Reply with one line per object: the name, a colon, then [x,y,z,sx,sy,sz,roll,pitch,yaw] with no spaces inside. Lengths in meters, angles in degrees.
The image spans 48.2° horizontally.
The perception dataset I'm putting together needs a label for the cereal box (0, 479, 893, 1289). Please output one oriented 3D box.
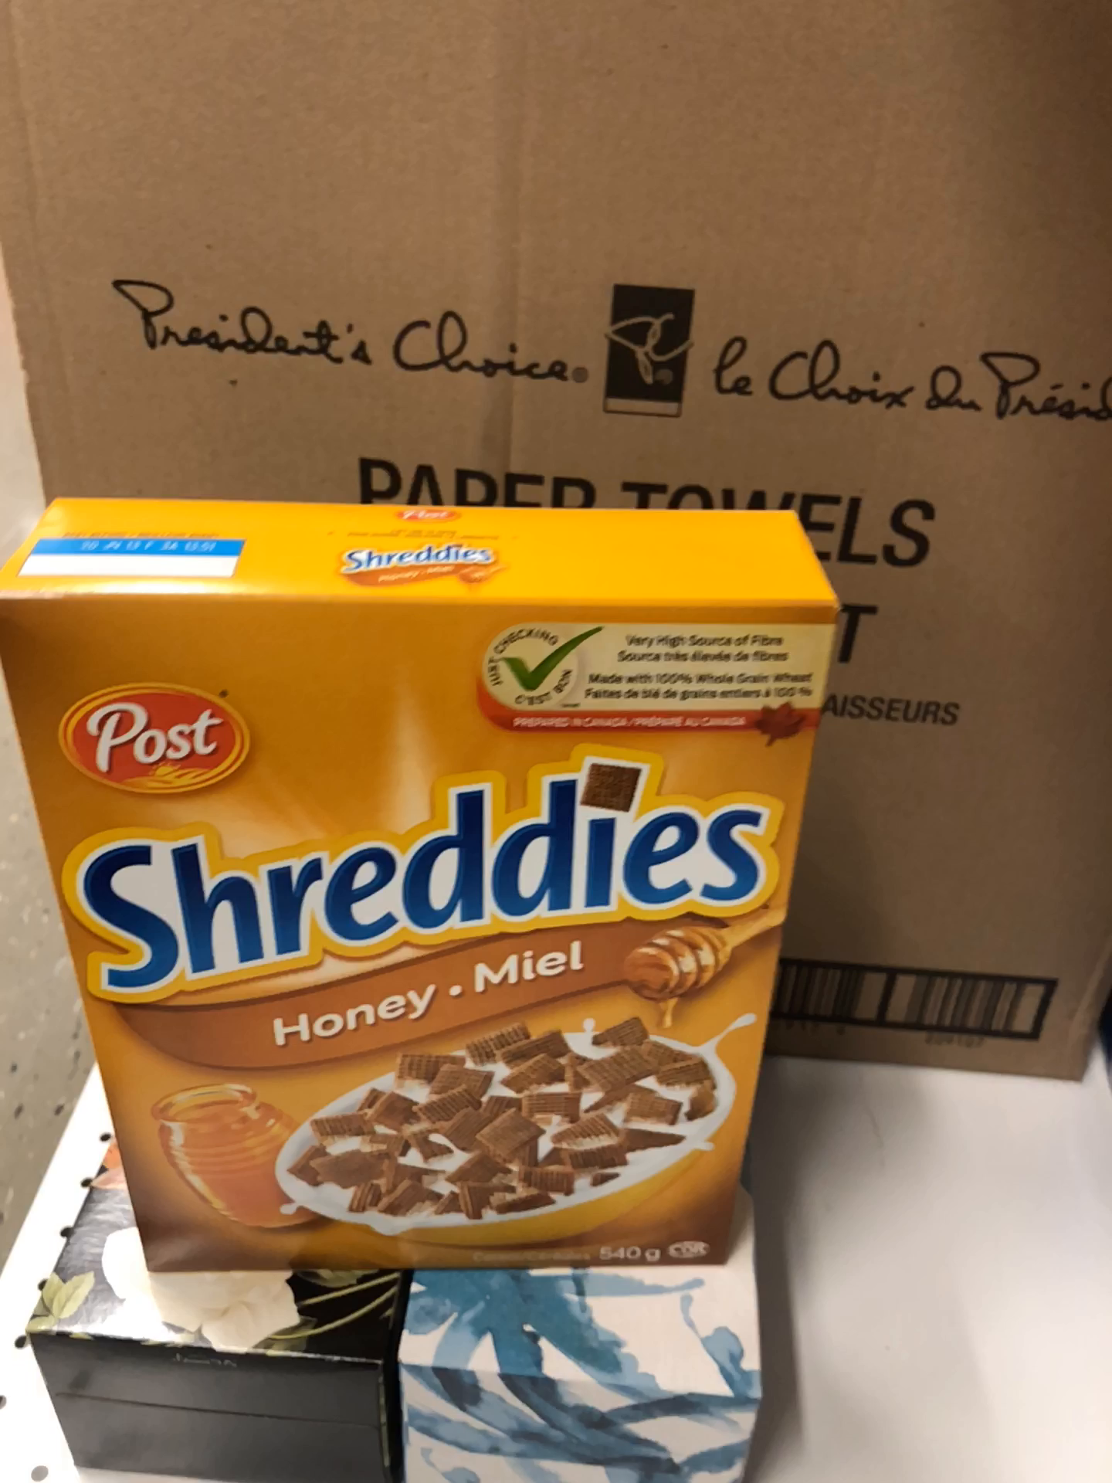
cereal box: [-0.038,0.057,0.376,0.220,0.259,0.060,0,33,-4]
